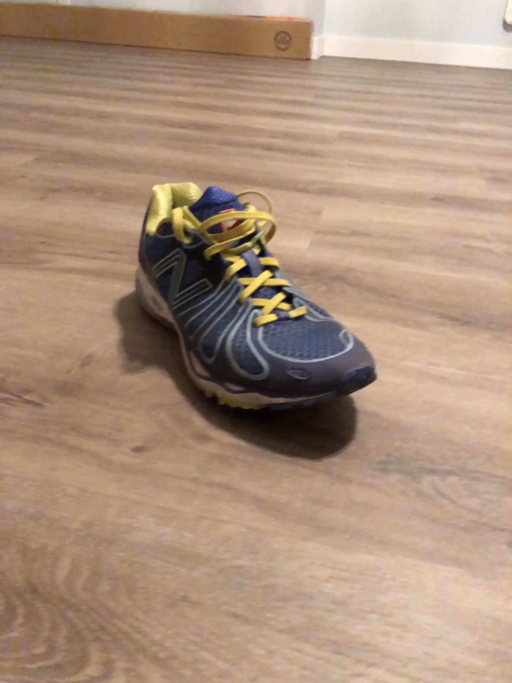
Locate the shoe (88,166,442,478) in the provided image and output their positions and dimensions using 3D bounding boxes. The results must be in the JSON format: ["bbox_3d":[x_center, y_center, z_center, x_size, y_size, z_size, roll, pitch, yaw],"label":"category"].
[{"bbox_3d":[-0.015,-0.039,0.398,0.110,0.099,0.251,-17,36,-30],"label":"shoe"}]
